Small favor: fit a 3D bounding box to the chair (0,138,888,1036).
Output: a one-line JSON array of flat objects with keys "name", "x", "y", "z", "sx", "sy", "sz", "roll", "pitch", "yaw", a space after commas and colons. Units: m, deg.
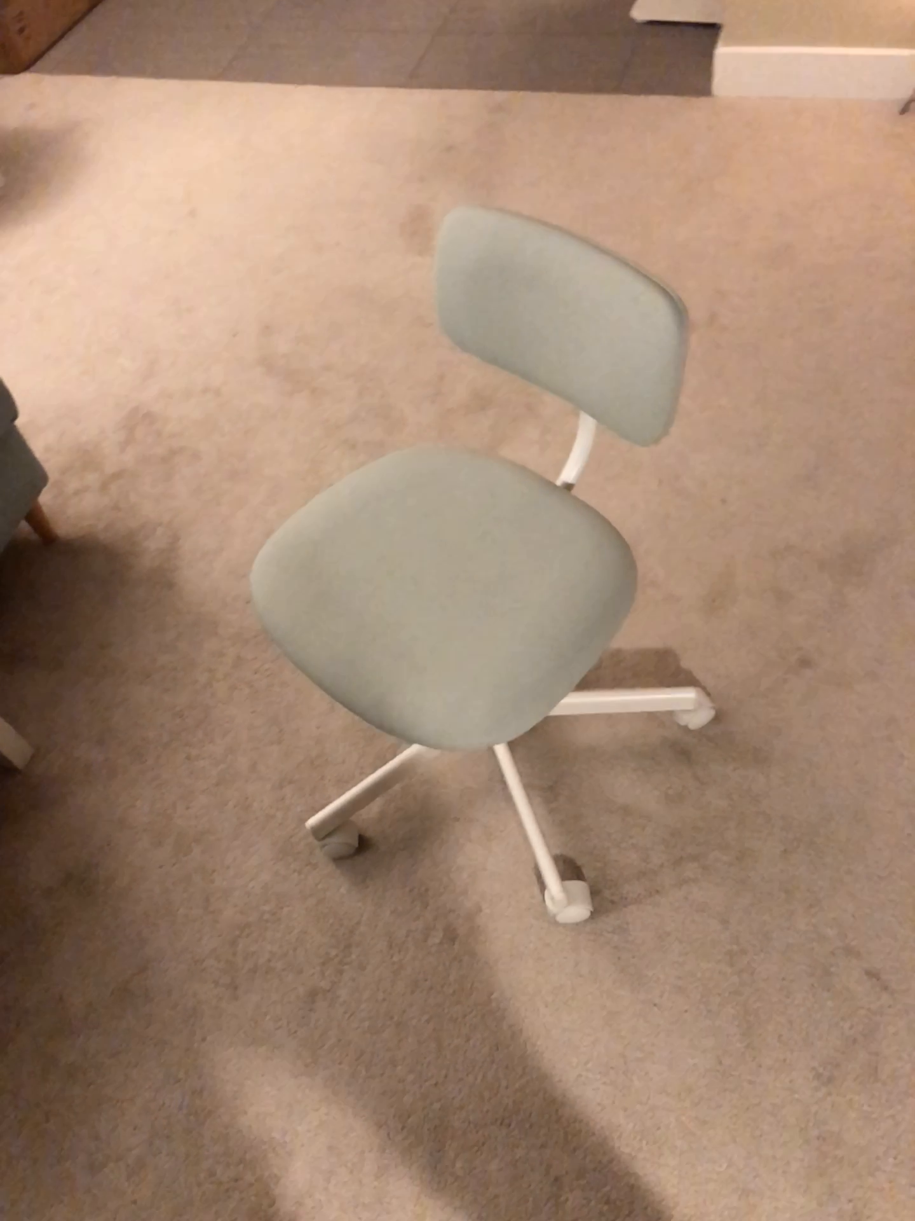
[{"name": "chair", "x": -0.005, "y": -0.030, "z": 1.273, "sx": 0.641, "sy": 0.677, "sz": 0.662, "roll": -40, "pitch": 57, "yaw": -18}]
